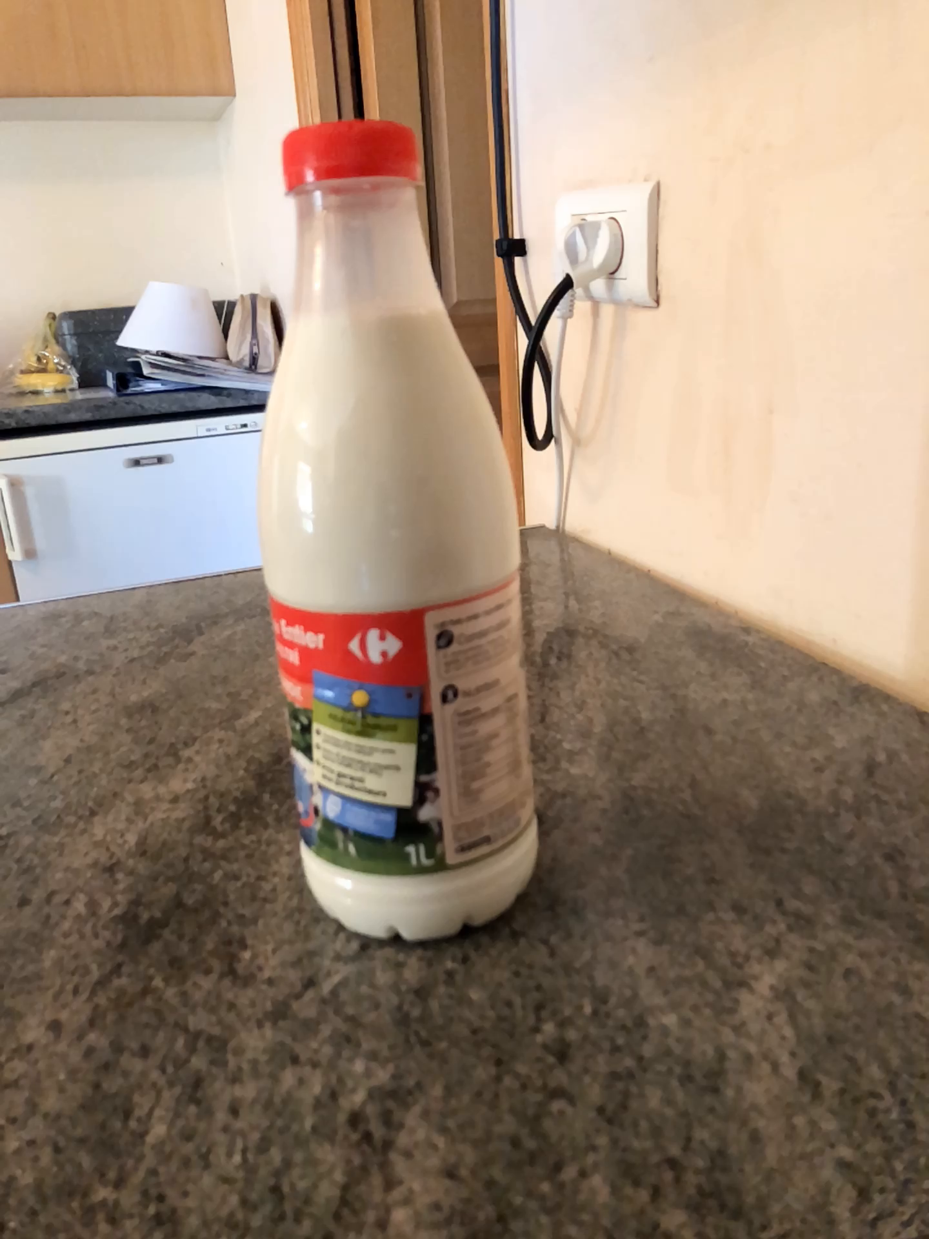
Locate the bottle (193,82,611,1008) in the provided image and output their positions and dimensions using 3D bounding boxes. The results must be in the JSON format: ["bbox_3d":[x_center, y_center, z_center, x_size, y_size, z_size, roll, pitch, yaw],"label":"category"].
[{"bbox_3d":[-0.015,-0.022,0.322,0.080,0.249,0.090,-14,20,-31],"label":"bottle"}]
